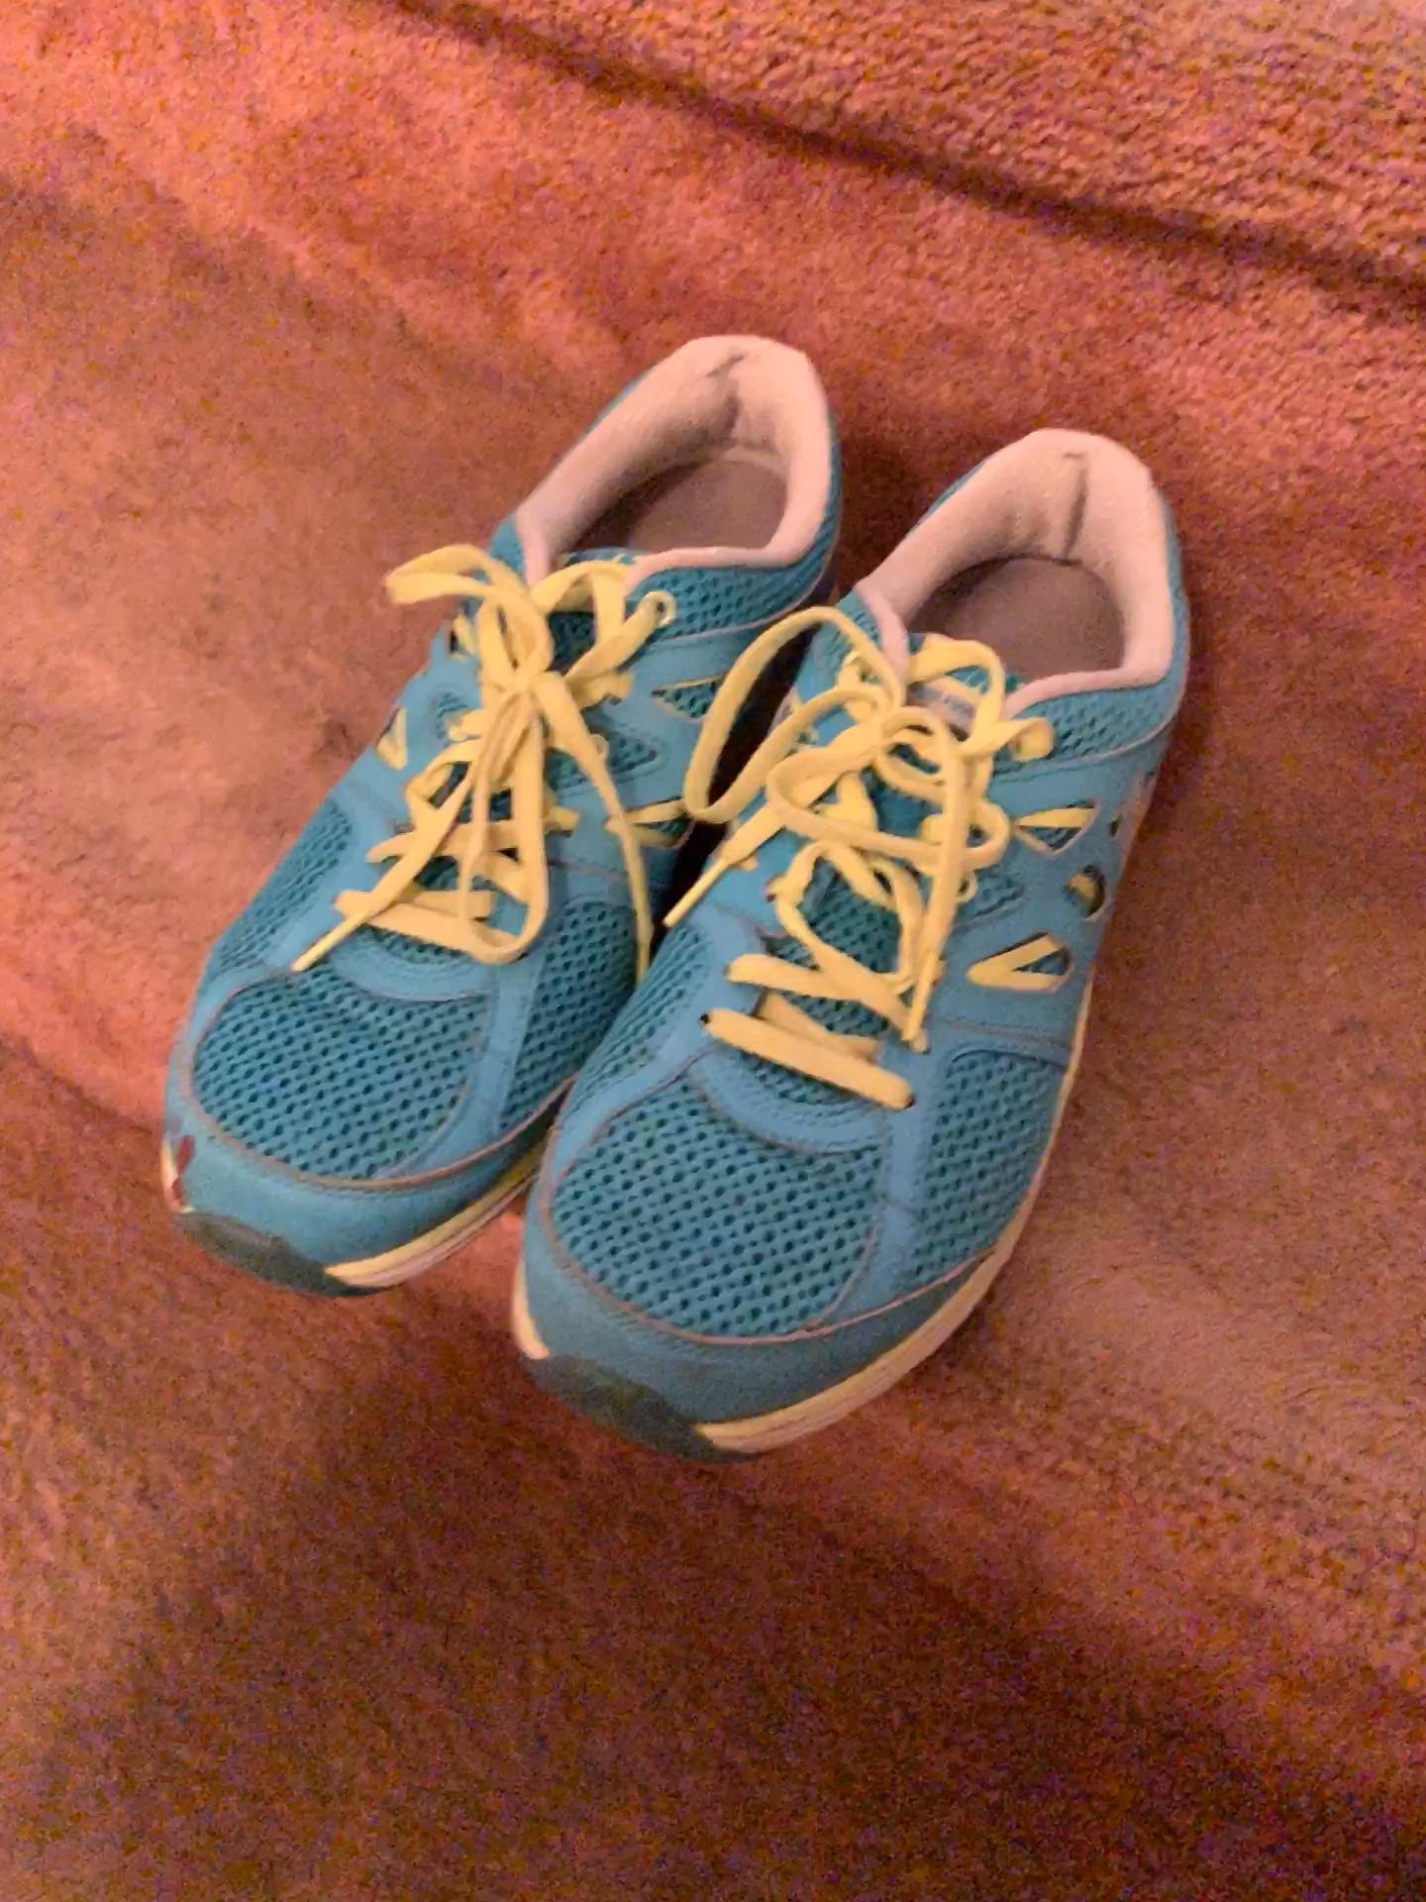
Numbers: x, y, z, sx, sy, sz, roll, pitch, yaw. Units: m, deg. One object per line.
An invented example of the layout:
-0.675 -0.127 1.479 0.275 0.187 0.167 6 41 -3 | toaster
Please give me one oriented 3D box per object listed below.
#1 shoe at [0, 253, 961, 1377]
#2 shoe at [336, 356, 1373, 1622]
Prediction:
-0.044 -0.058 0.368 0.110 0.099 0.282 22 50 13 | shoe
0.051 -0.018 0.342 0.110 0.099 0.282 24 51 15 | shoe
